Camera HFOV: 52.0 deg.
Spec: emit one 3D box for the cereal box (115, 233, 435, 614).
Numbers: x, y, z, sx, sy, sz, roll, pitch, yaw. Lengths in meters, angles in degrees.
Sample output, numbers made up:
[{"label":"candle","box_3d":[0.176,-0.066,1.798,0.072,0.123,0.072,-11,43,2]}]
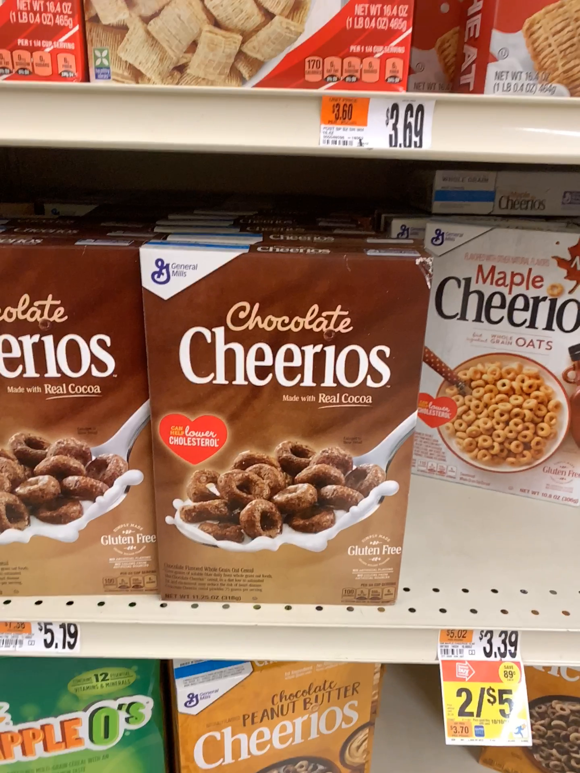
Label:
[{"label":"cereal box","box_3d":[-0.014,0.038,0.474,0.210,0.299,0.060,2,22,0]}]
